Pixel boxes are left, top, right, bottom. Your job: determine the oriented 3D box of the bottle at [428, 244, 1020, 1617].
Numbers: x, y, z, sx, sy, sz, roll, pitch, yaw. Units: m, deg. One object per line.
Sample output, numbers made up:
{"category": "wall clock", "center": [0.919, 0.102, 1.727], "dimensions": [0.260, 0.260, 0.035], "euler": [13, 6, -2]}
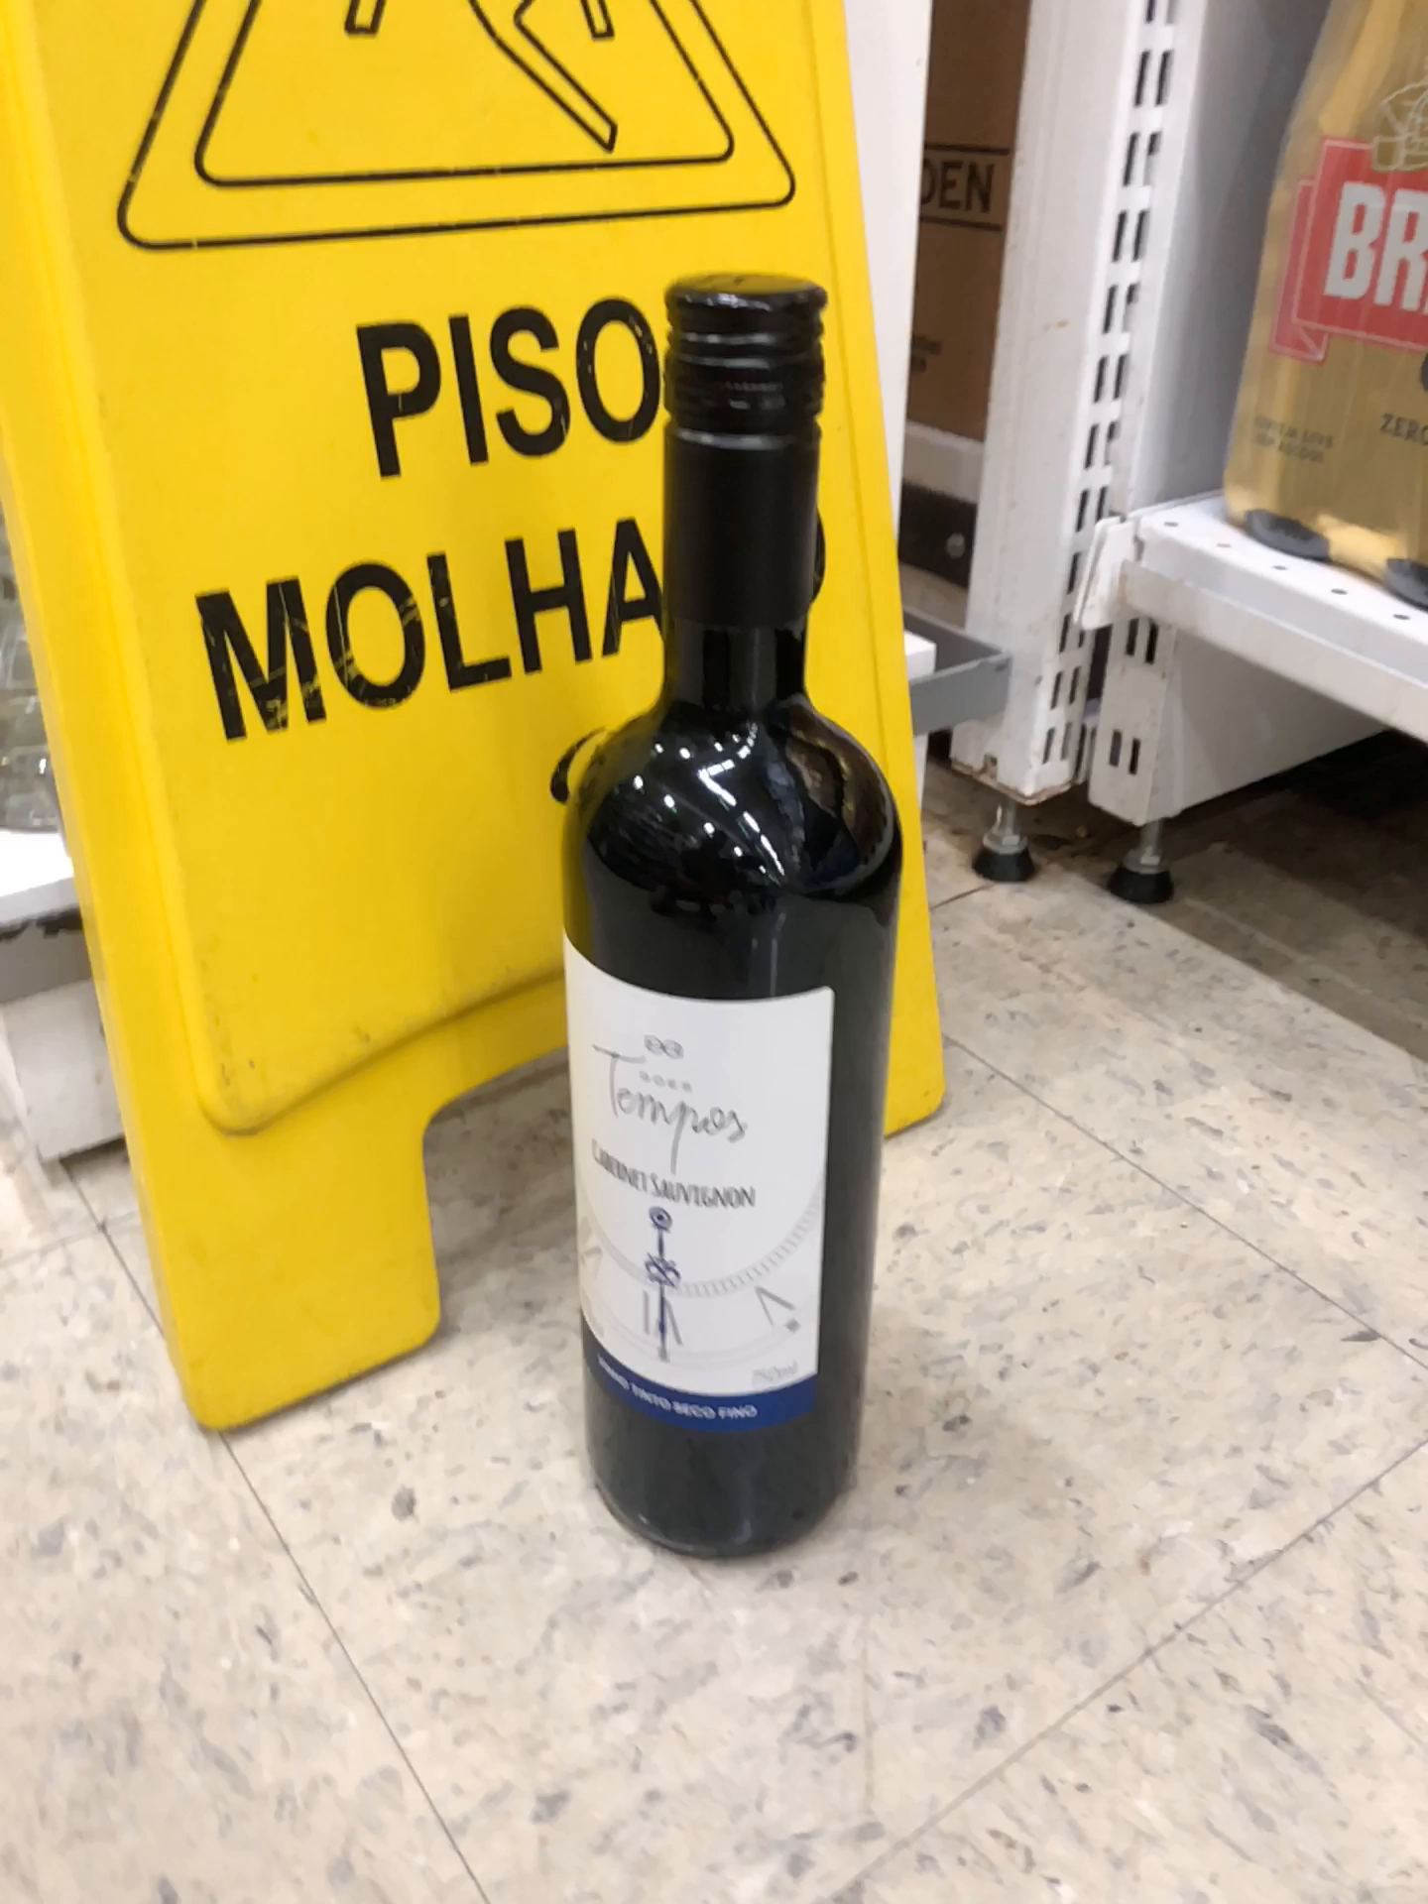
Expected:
{"category": "bottle", "center": [0.003, 0.009, 0.344], "dimensions": [0.080, 0.288, 0.070], "euler": [13, 33, 21]}
